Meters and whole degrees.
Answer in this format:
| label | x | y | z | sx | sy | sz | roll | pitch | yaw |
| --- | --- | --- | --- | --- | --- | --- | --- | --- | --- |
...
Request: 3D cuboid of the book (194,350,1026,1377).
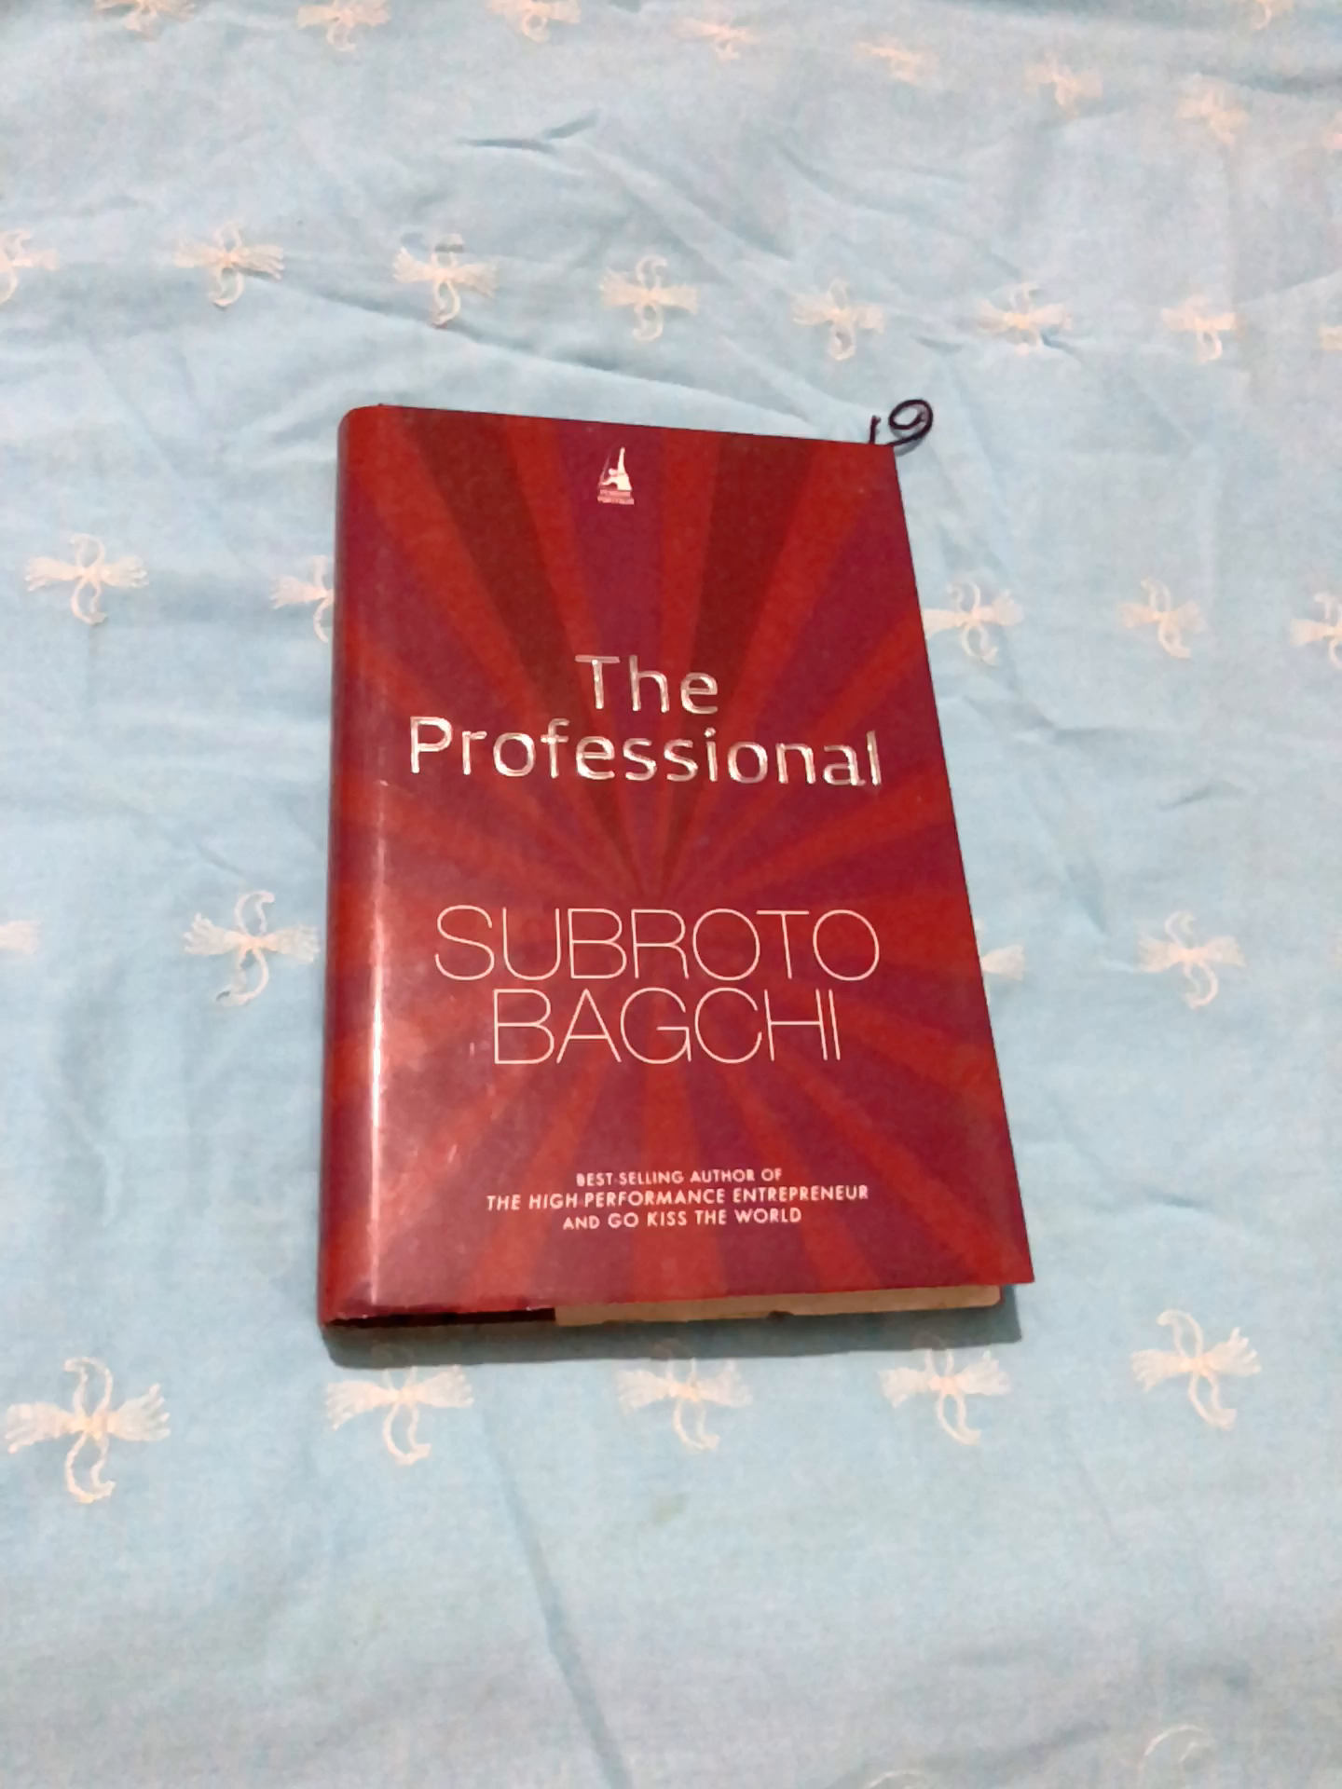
| label | x | y | z | sx | sy | sz | roll | pitch | yaw |
| --- | --- | --- | --- | --- | --- | --- | --- | --- | --- |
| book | -0.015 | -0.014 | 0.324 | 0.150 | 0.030 | 0.220 | 2 | 66 | -12 |
